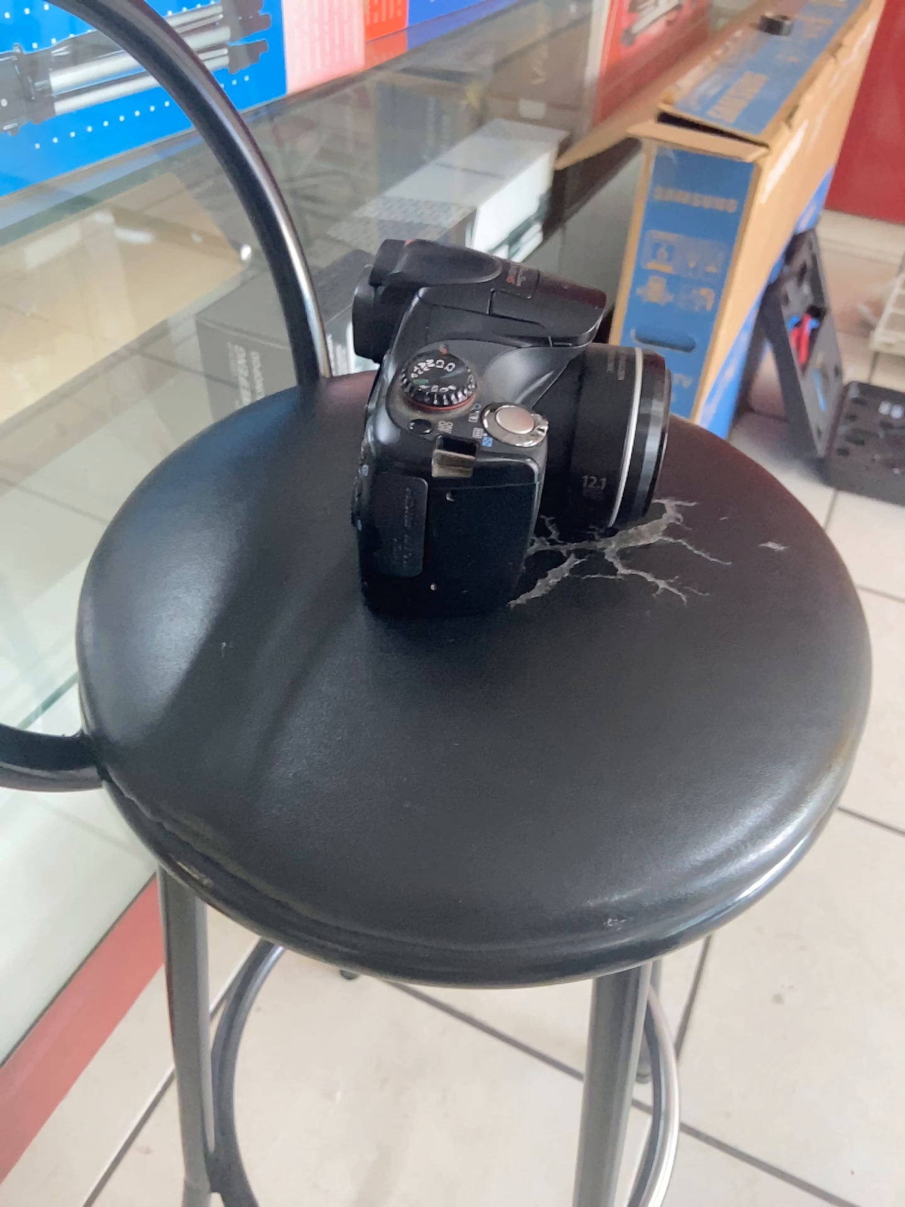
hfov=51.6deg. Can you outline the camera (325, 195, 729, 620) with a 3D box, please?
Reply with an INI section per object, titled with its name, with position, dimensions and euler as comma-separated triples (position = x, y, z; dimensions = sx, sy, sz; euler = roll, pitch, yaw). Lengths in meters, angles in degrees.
[camera]
position = 0.023, -0.073, 0.329
dimensions = 0.110, 0.089, 0.121
euler = 5, 43, 2
